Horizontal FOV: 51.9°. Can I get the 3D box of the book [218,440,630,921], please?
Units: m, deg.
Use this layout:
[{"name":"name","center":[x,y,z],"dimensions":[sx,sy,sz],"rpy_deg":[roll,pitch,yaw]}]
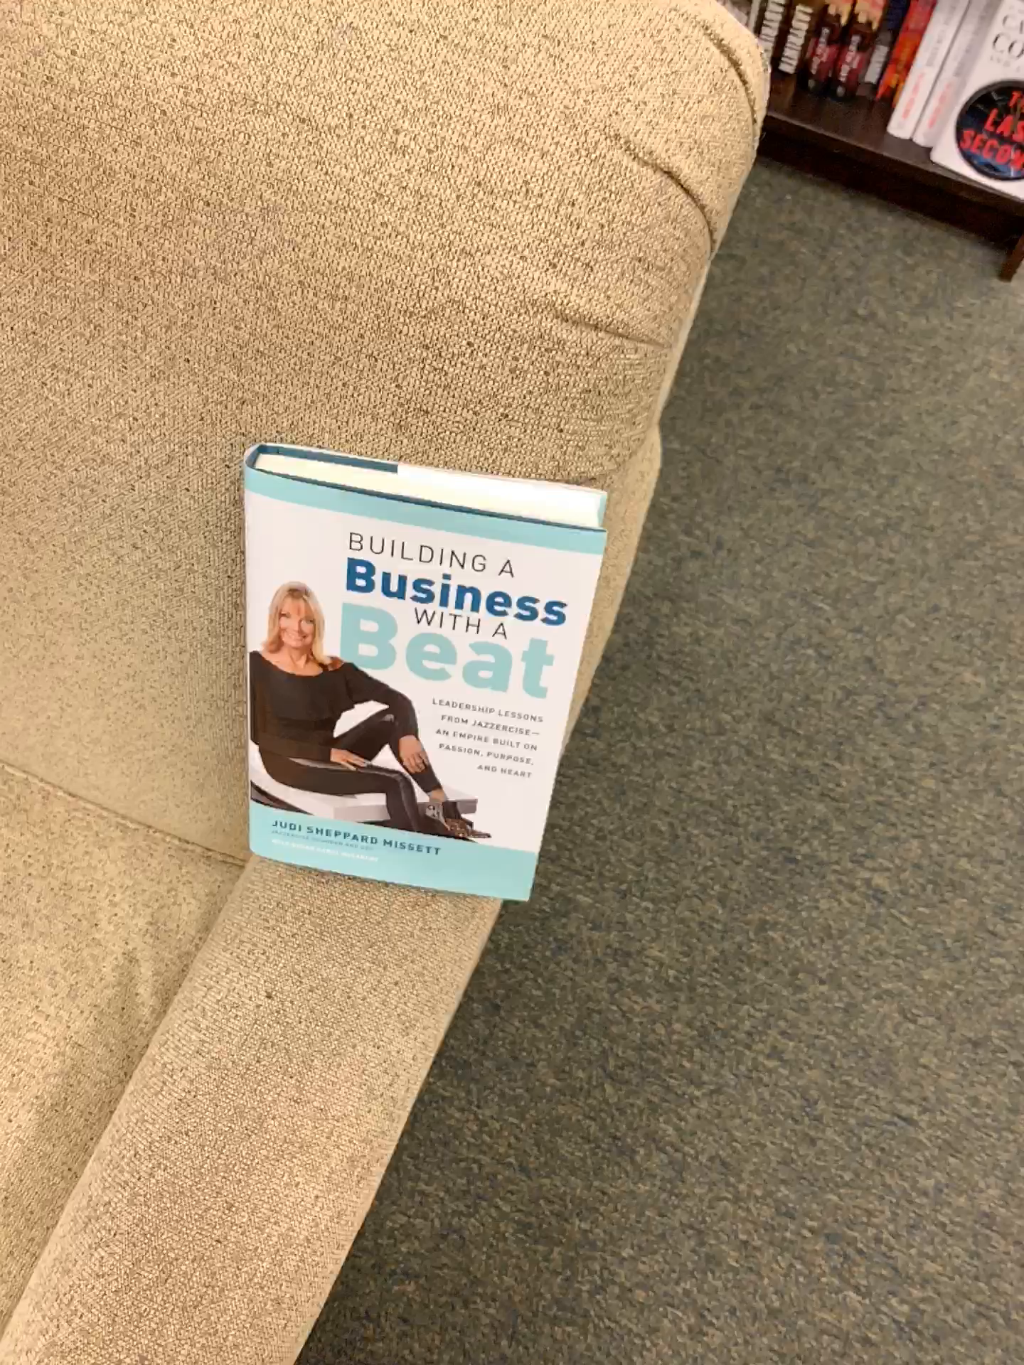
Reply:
[{"name":"book","center":[-0.048,0.010,0.516],"dimensions":[0.170,0.230,0.040],"rpy_deg":[10,37,3]}]
